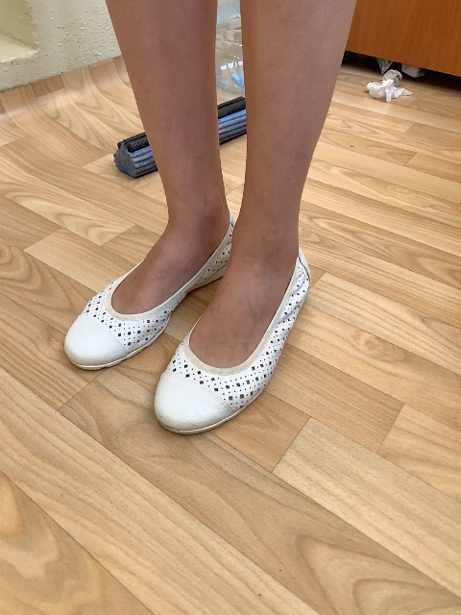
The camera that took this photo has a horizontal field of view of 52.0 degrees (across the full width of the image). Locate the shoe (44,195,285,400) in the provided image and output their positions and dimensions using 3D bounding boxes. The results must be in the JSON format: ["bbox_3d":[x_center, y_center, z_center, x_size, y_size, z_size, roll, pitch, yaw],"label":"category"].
[{"bbox_3d":[-0.057,-0.028,0.536,0.100,0.070,0.271,28,49,27],"label":"shoe"}]

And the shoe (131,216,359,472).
[{"bbox_3d":[0.030,0.014,0.463,0.090,0.070,0.271,22,46,22],"label":"shoe"}]
